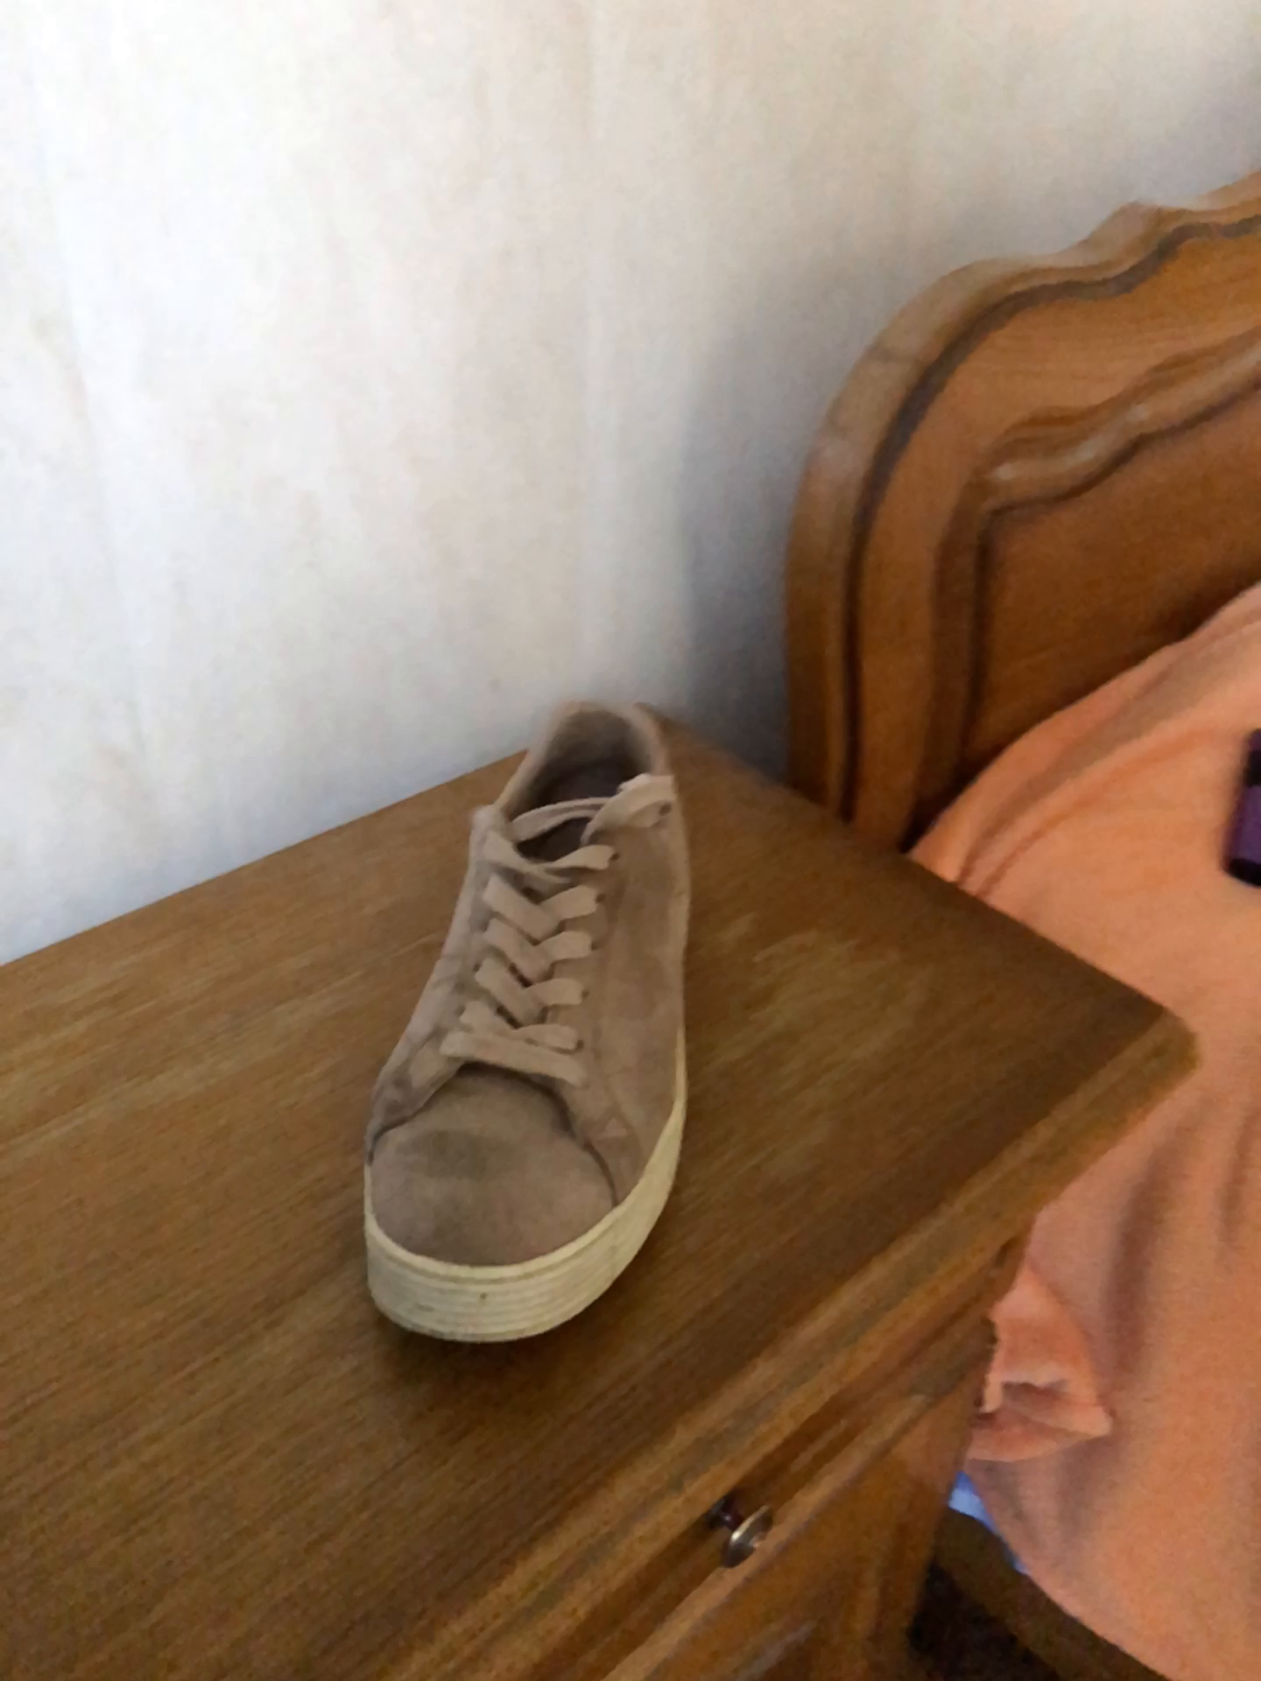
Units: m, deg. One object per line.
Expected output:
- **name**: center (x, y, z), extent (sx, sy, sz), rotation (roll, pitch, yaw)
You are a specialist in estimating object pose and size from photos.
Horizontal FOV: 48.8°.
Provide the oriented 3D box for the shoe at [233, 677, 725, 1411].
- **shoe**: center (-0.033, 0.047, 0.478), extent (0.110, 0.089, 0.262), rotation (5, 33, 4)
